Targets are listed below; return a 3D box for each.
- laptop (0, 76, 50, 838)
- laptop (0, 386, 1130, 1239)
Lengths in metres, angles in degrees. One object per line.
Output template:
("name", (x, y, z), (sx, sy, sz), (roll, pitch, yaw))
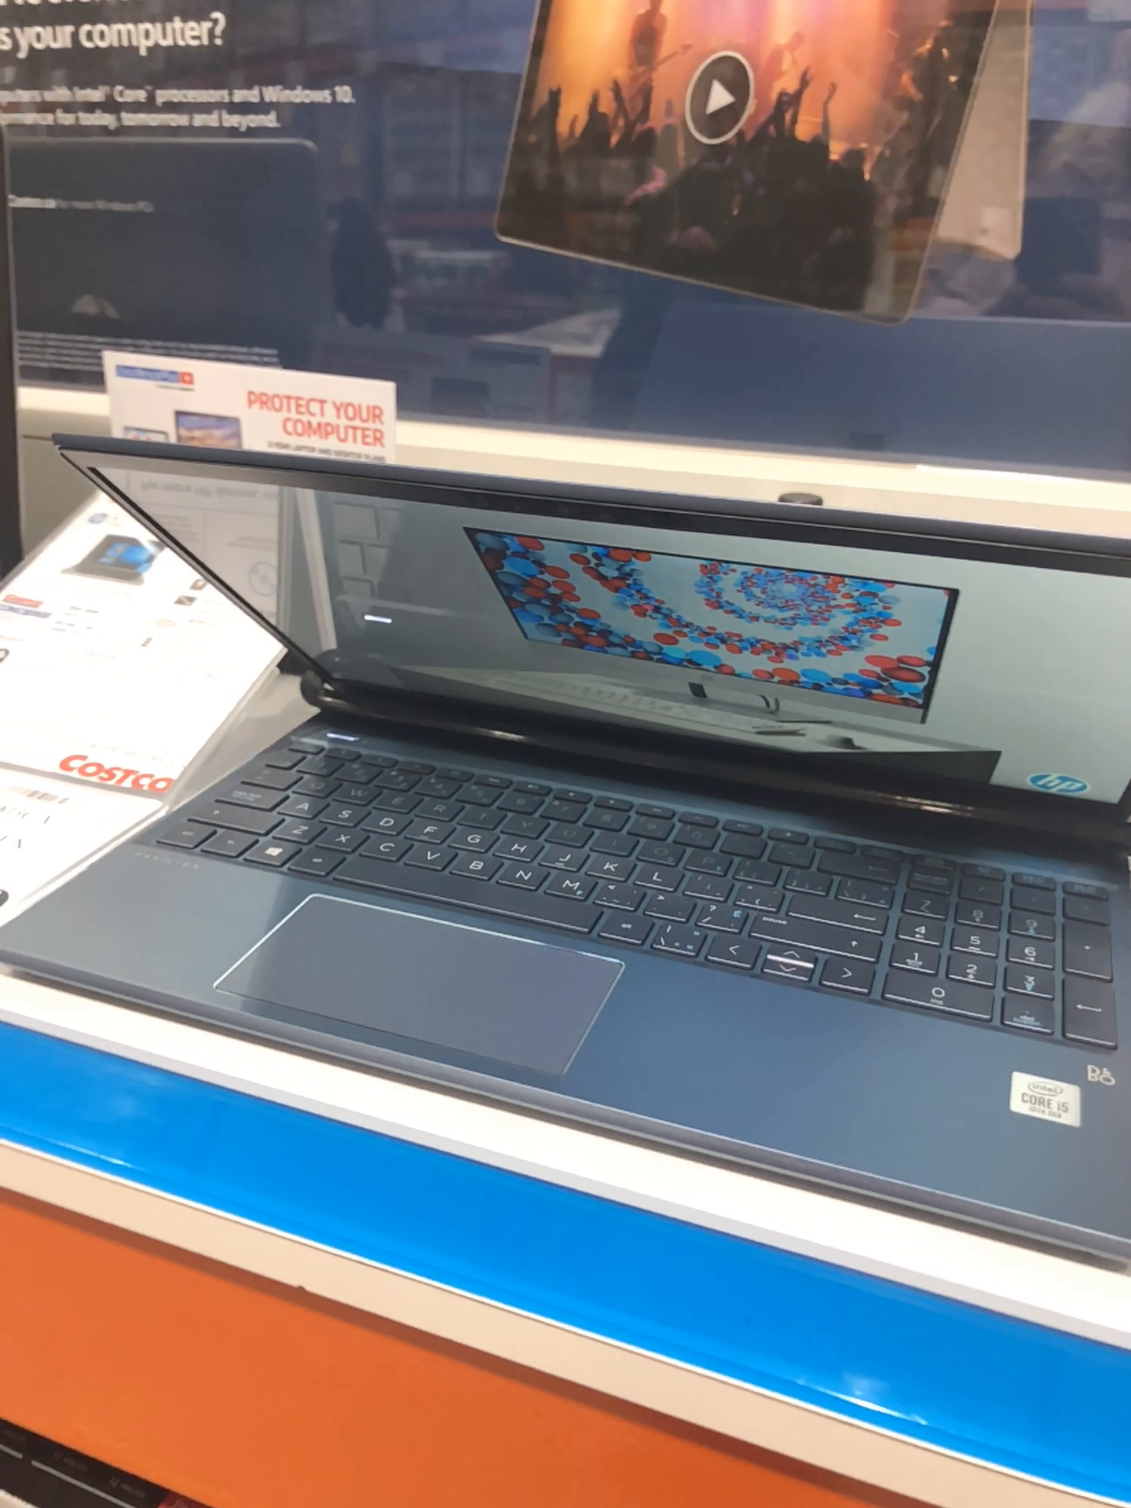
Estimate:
("laptop", (-0.475, -0.166, 0.560), (0.342, 0.227, 0.288), (9, 26, 17))
("laptop", (0.009, -0.021, 0.420), (0.346, 0.149, 0.218), (10, 26, 19))
